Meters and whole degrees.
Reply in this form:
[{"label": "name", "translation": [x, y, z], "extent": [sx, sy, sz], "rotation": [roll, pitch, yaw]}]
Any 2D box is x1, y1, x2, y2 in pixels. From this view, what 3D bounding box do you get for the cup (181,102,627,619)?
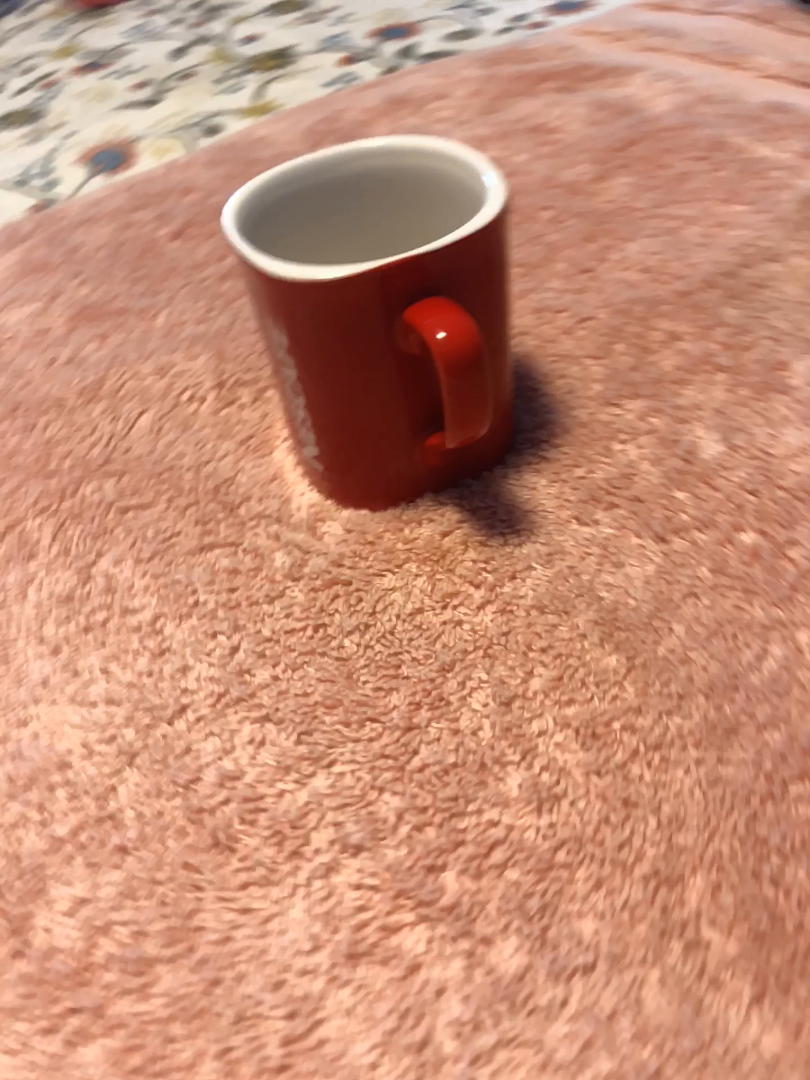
[{"label": "cup", "translation": [-0.003, -0.049, 0.228], "extent": [0.070, 0.070, 0.101], "rotation": [-20, 46, -9]}]
